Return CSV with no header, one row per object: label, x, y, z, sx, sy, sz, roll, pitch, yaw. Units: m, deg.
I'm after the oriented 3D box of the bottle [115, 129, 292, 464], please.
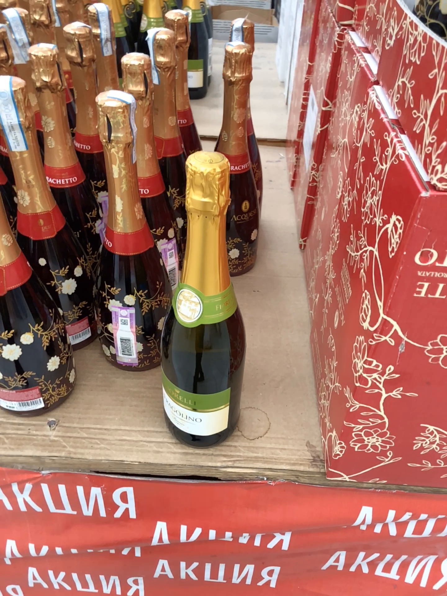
bottle,-0.018,0.014,0.444,0.090,0.288,0.090,2,40,-1
